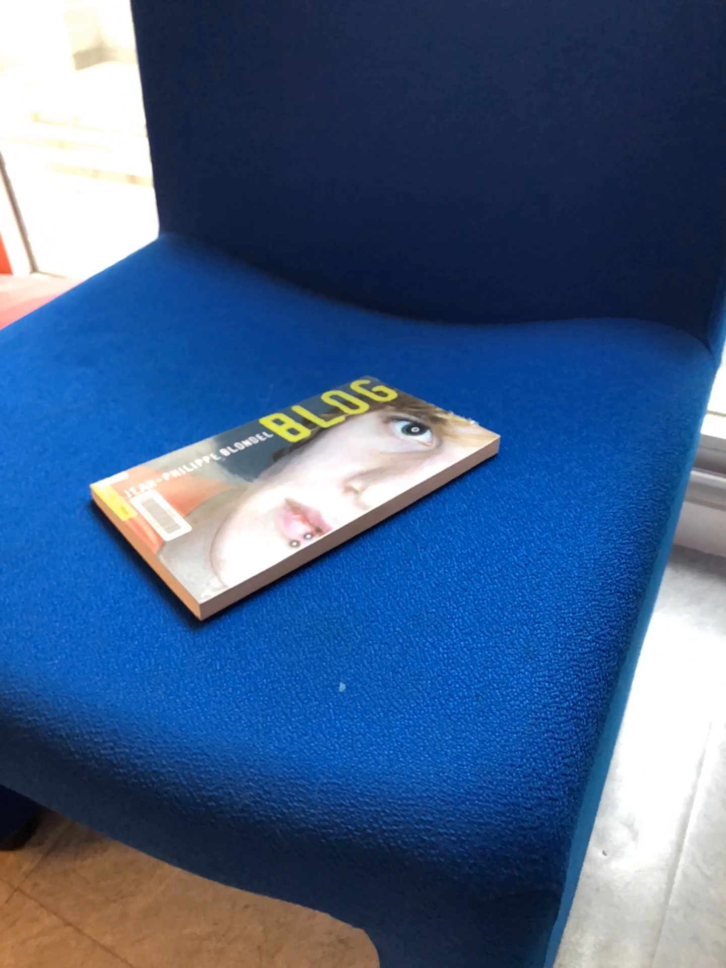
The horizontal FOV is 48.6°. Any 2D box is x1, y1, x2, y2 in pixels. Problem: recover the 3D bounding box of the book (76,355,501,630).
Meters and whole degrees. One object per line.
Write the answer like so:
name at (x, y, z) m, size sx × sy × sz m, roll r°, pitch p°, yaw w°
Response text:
book at (-0.044, -0.010, 0.500) m, size 0.221 × 0.018 × 0.142 m, roll -27°, pitch 43°, yaw -27°
